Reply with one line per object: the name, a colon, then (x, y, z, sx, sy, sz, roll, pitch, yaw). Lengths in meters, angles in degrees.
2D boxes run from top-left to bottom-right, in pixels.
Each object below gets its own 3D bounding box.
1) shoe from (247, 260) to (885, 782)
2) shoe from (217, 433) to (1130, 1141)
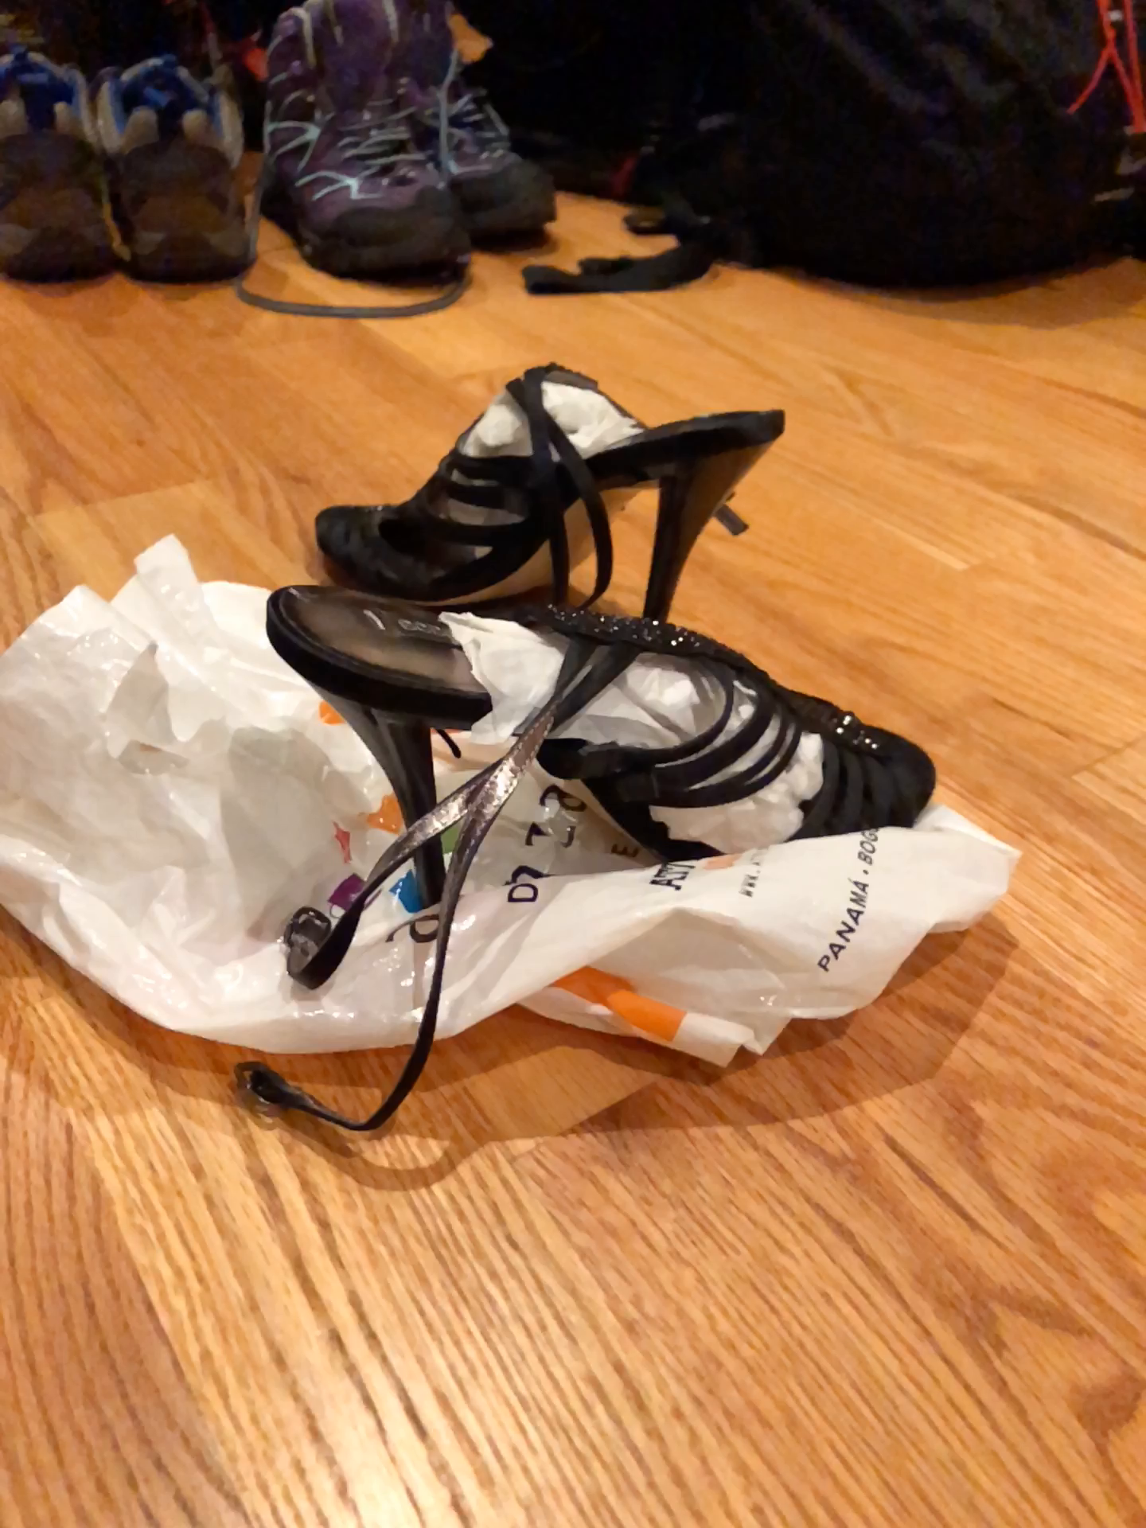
shoe: (-0.011, -0.102, 0.484, 0.218, 0.112, 0.091, 26, 42, 28)
shoe: (0.028, -0.006, 0.355, 0.218, 0.112, 0.092, -16, 41, -25)
